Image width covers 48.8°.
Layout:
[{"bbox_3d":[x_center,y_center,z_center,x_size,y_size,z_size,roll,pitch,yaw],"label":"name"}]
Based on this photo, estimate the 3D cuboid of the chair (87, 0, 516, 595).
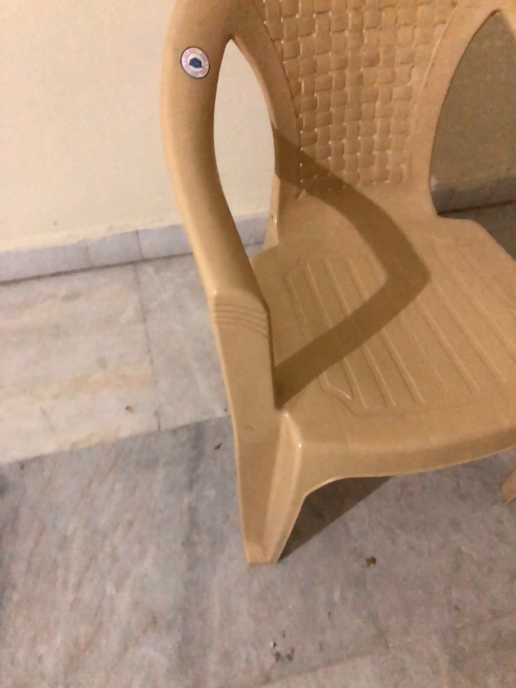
[{"bbox_3d":[0.174,-0.123,0.797,0.591,0.745,0.603,-12,56,-10],"label":"chair"}]
